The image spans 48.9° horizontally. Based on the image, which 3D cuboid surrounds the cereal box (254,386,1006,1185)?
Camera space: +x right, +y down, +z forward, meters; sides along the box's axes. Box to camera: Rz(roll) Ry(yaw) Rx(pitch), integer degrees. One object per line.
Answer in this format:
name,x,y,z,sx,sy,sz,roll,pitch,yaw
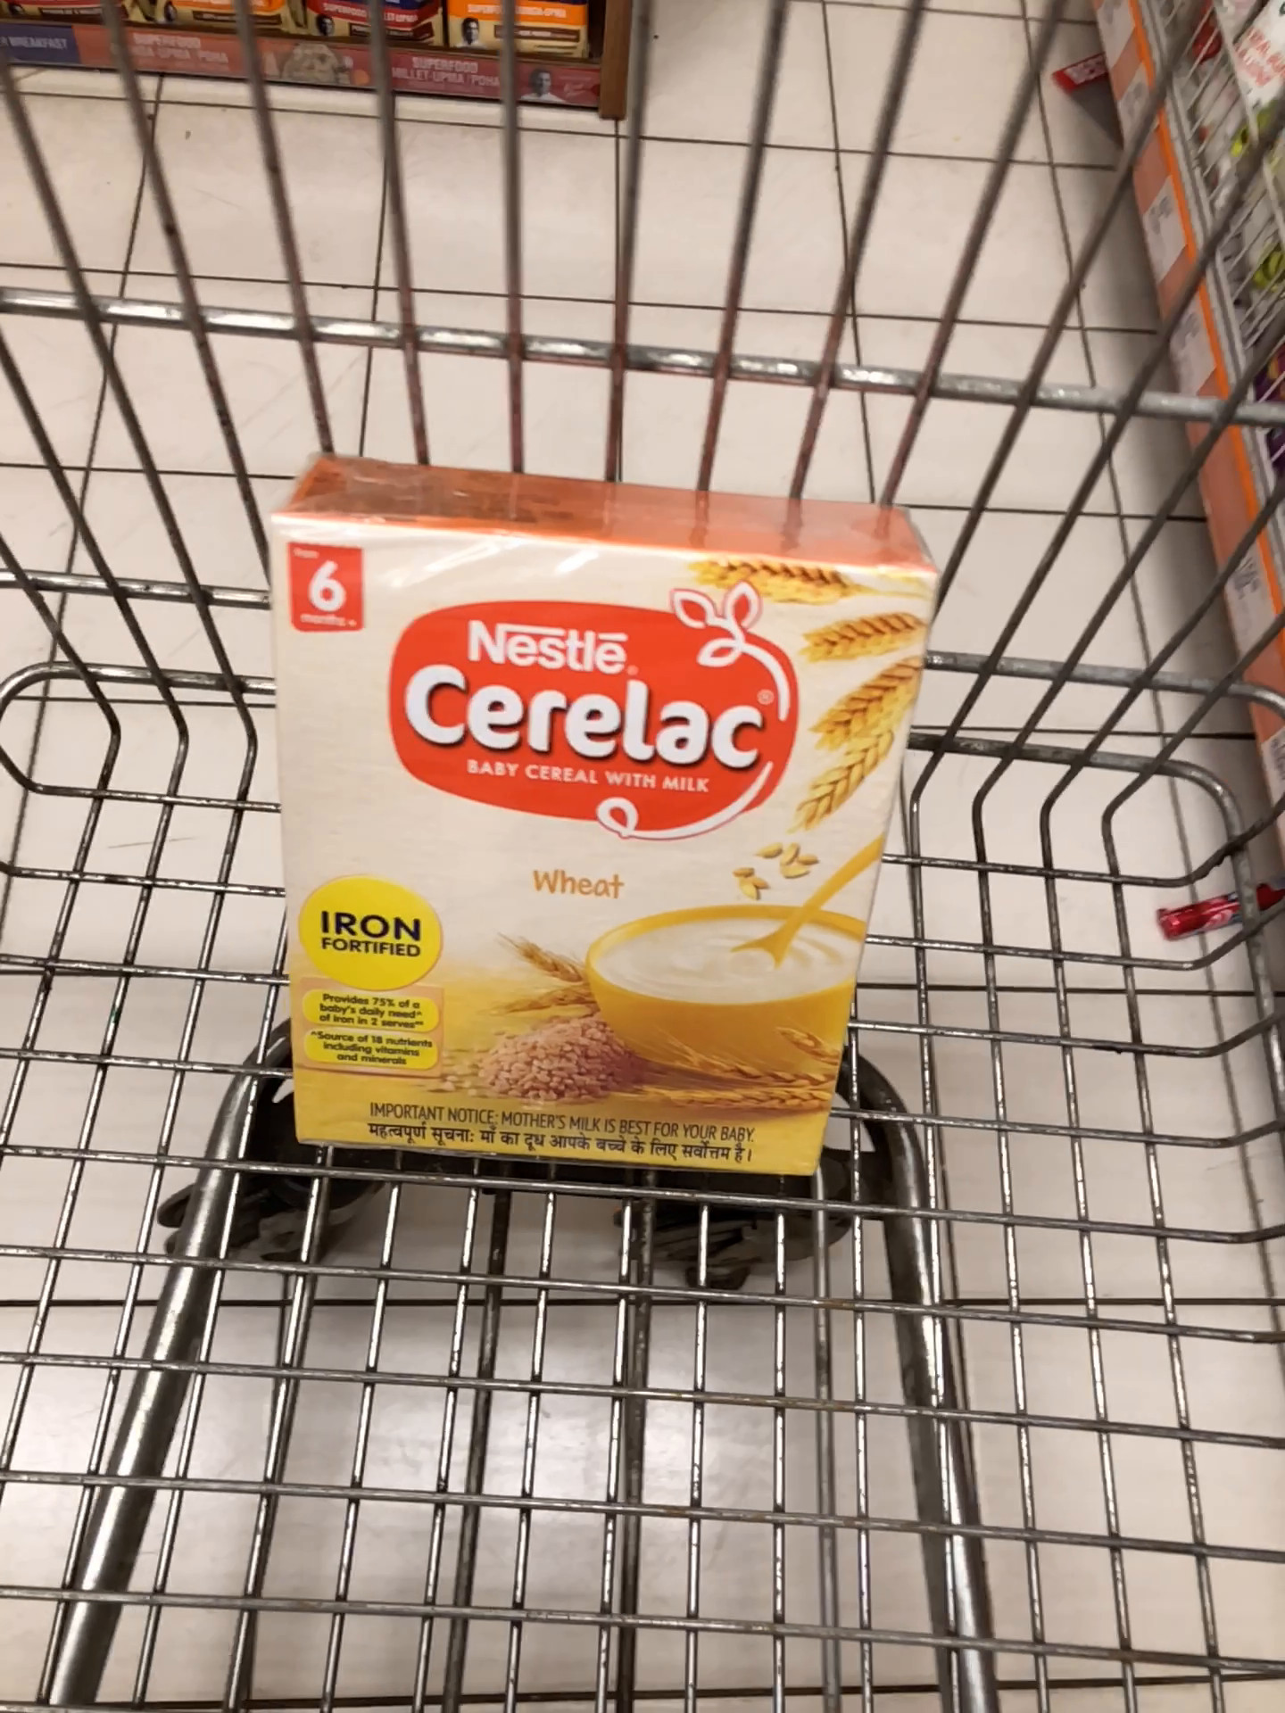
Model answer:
cereal box,-0.011,-0.010,0.346,0.150,0.179,0.050,5,29,-3
